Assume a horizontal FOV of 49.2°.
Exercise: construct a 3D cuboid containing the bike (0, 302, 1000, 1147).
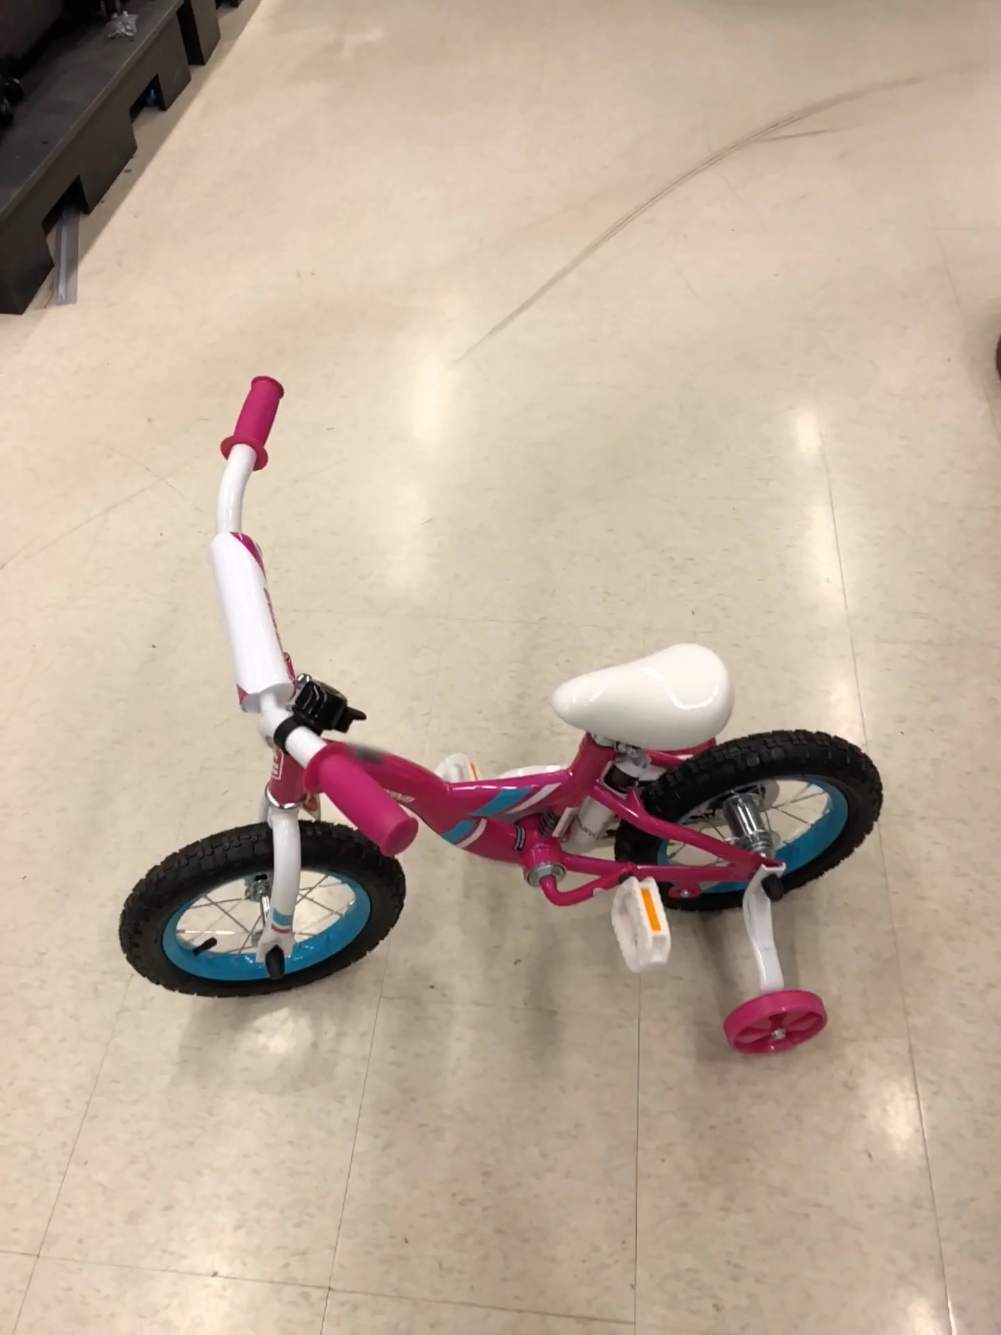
[{"bbox_3d":[-0.001,0.067,1.074,0.814,0.625,0.463,-8,50,-8],"label":"bike"}]
